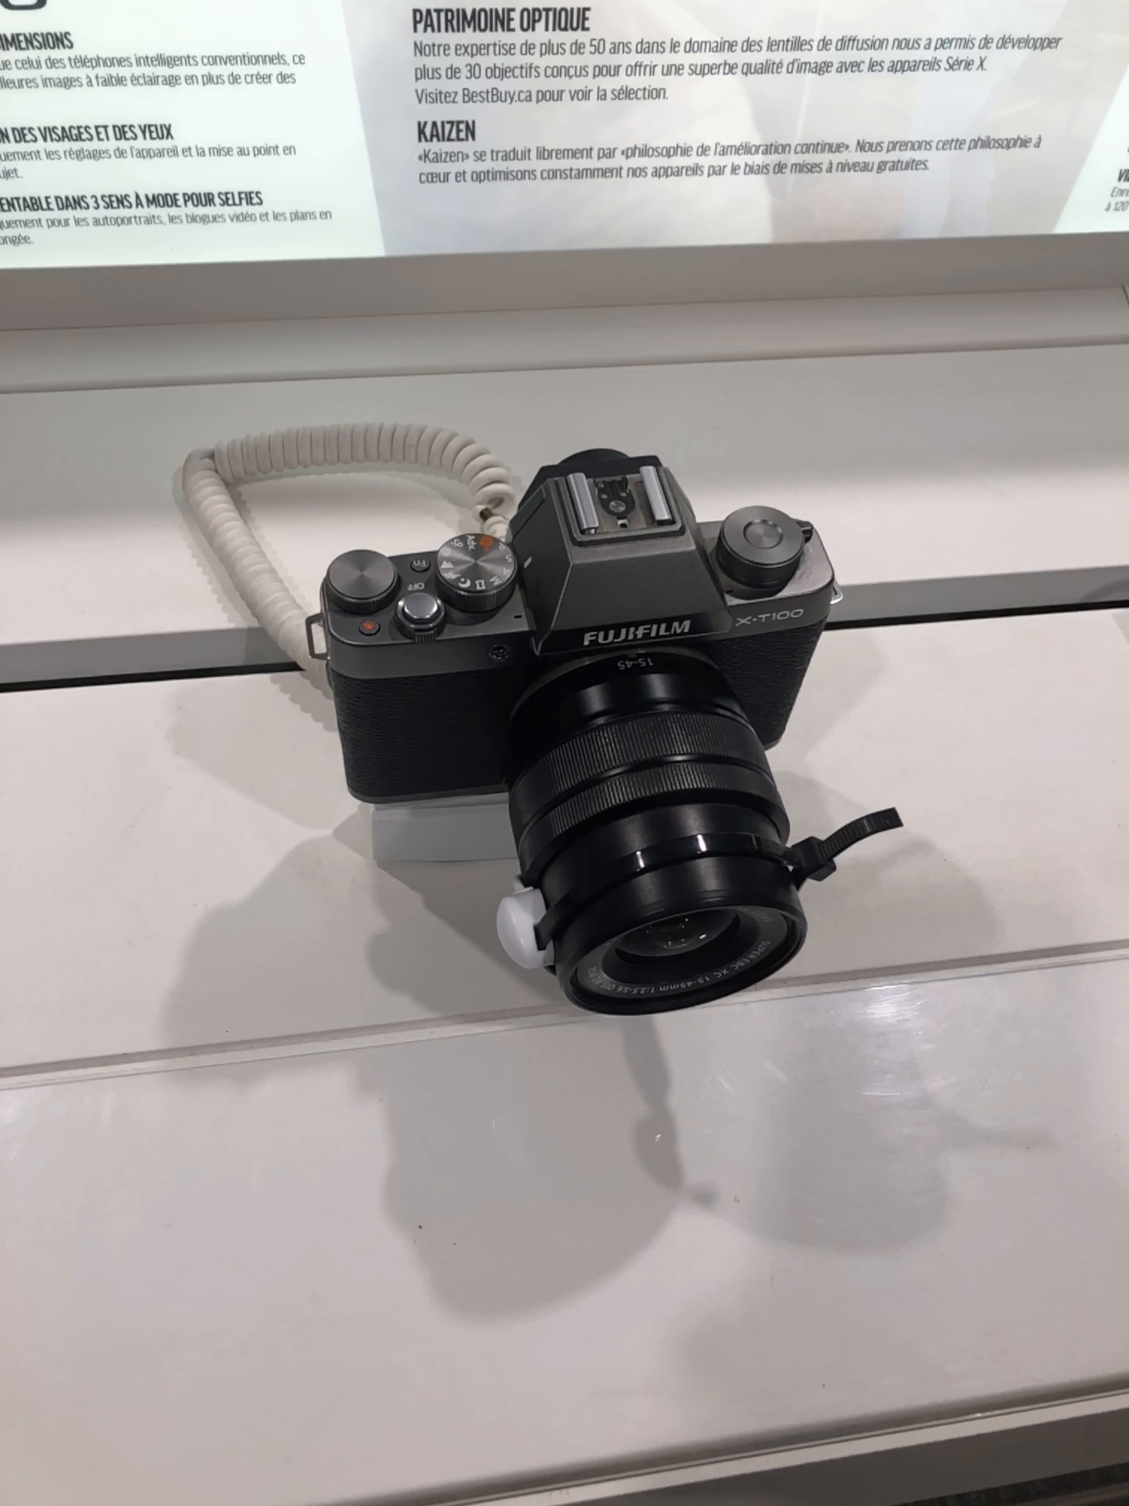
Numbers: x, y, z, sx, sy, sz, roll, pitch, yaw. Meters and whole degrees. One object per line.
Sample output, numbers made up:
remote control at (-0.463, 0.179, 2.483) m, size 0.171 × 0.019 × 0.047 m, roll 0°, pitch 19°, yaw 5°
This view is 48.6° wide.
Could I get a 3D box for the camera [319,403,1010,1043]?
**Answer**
camera at (0.013, -0.008, 0.307) m, size 0.130 × 0.099 × 0.108 m, roll -5°, pitch 52°, yaw -7°
